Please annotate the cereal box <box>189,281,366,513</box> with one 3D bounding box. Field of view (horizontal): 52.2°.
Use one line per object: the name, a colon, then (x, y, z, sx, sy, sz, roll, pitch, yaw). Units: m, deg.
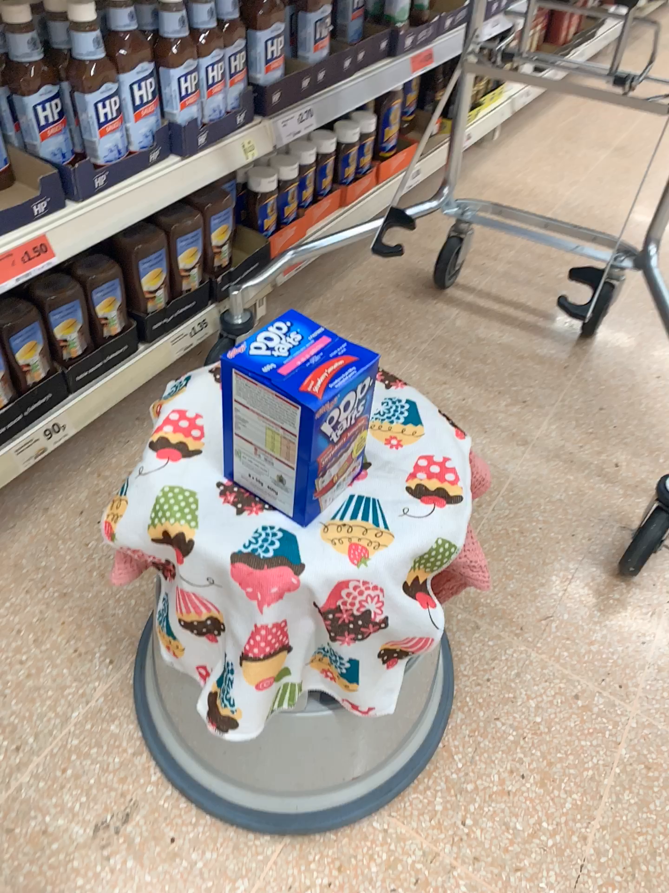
cereal box: (-0.047, -0.041, 0.573, 0.100, 0.139, 0.091, 30, 50, 23)
